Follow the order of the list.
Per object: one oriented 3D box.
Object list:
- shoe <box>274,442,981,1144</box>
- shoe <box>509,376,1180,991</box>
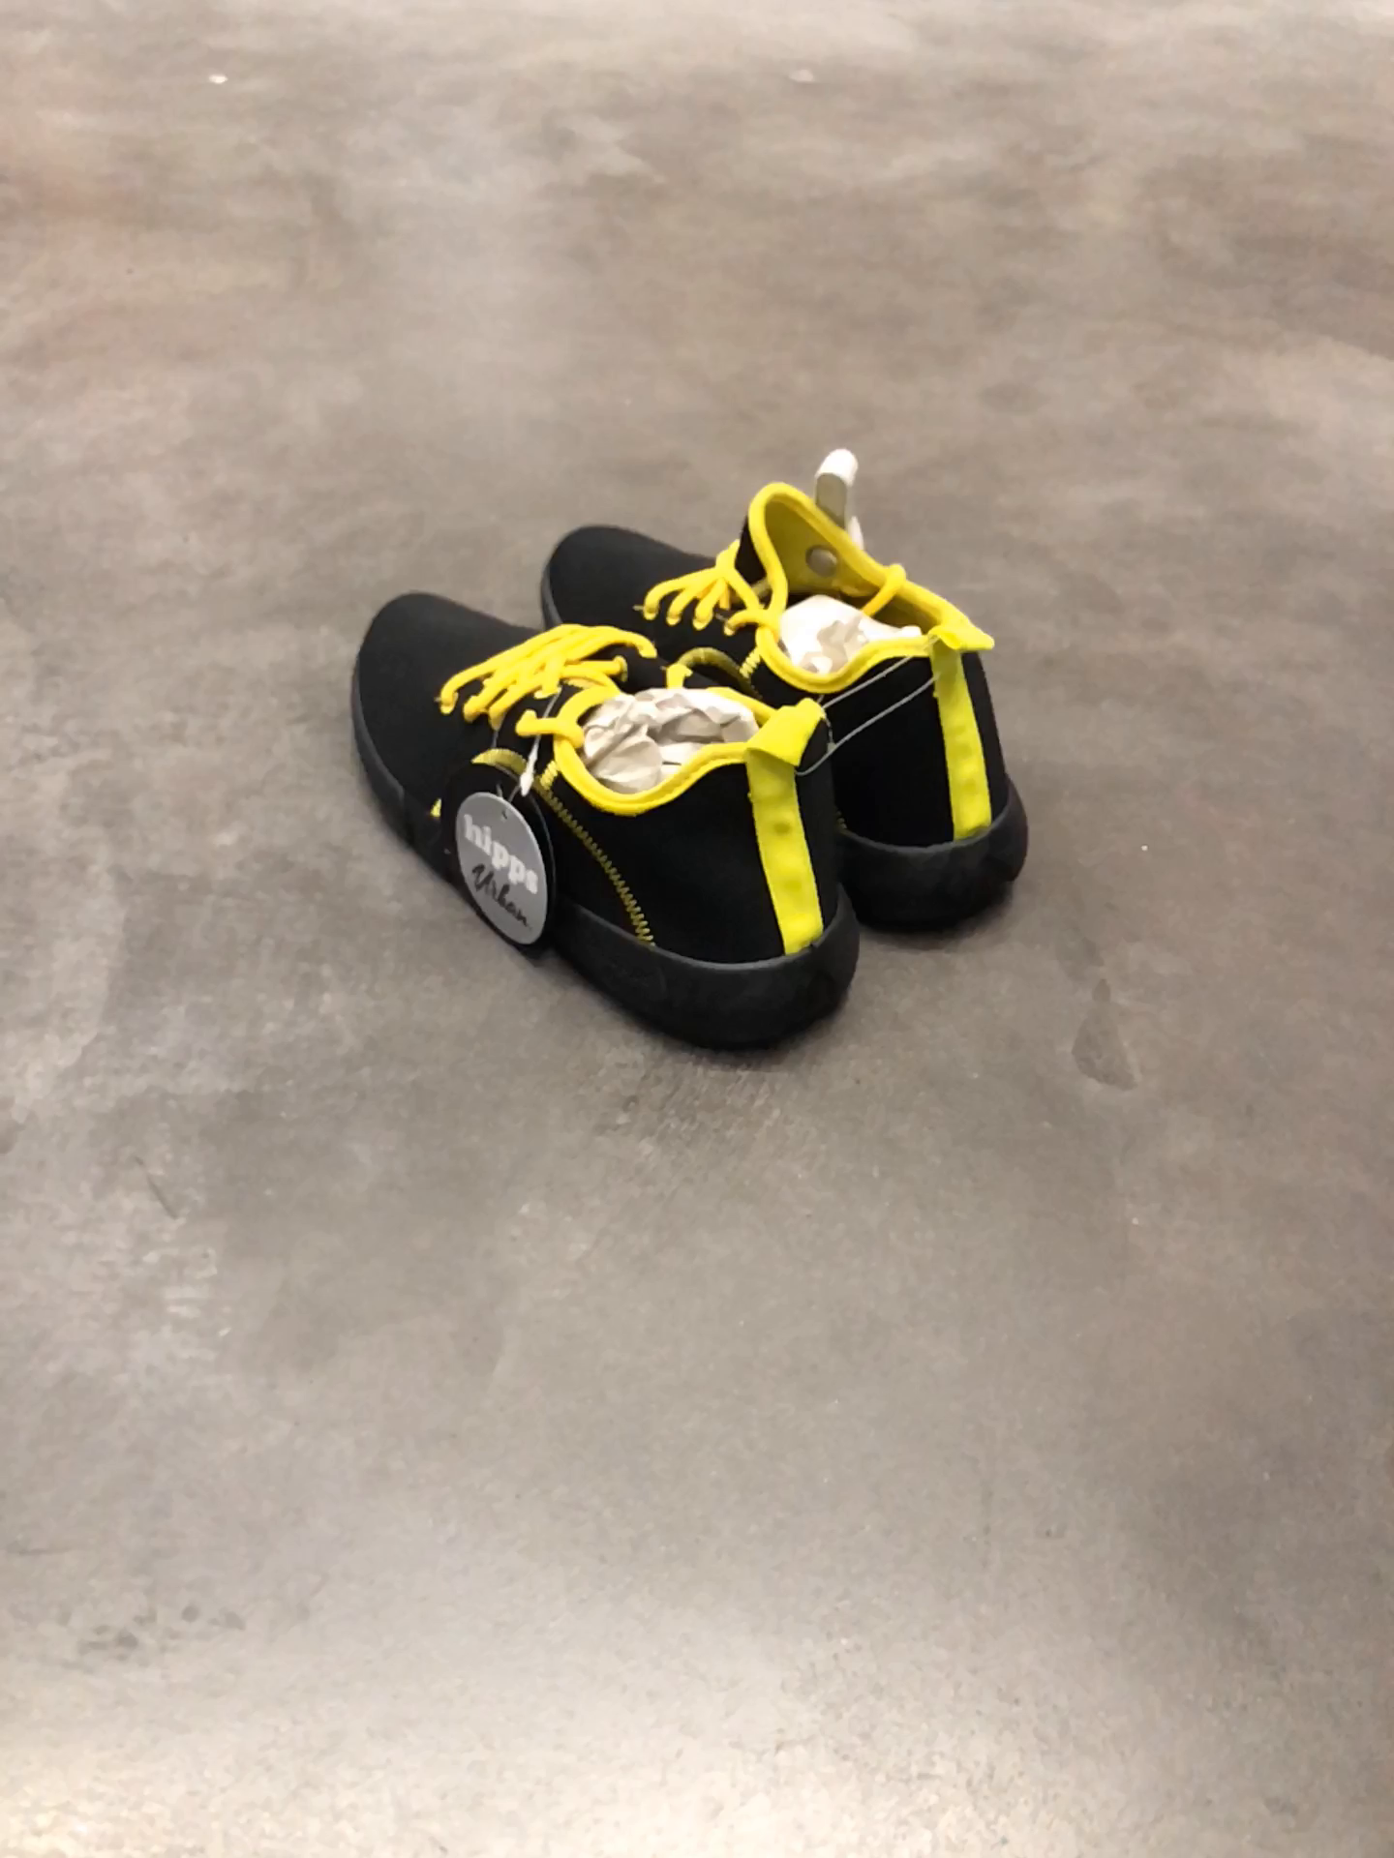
[{"bbox_3d":[-0.032,-0.056,0.495,0.090,0.099,0.230,-28,51,-29],"label":"shoe"},{"bbox_3d":[0.039,-0.098,0.547,0.090,0.099,0.230,-28,51,-29],"label":"shoe"}]
